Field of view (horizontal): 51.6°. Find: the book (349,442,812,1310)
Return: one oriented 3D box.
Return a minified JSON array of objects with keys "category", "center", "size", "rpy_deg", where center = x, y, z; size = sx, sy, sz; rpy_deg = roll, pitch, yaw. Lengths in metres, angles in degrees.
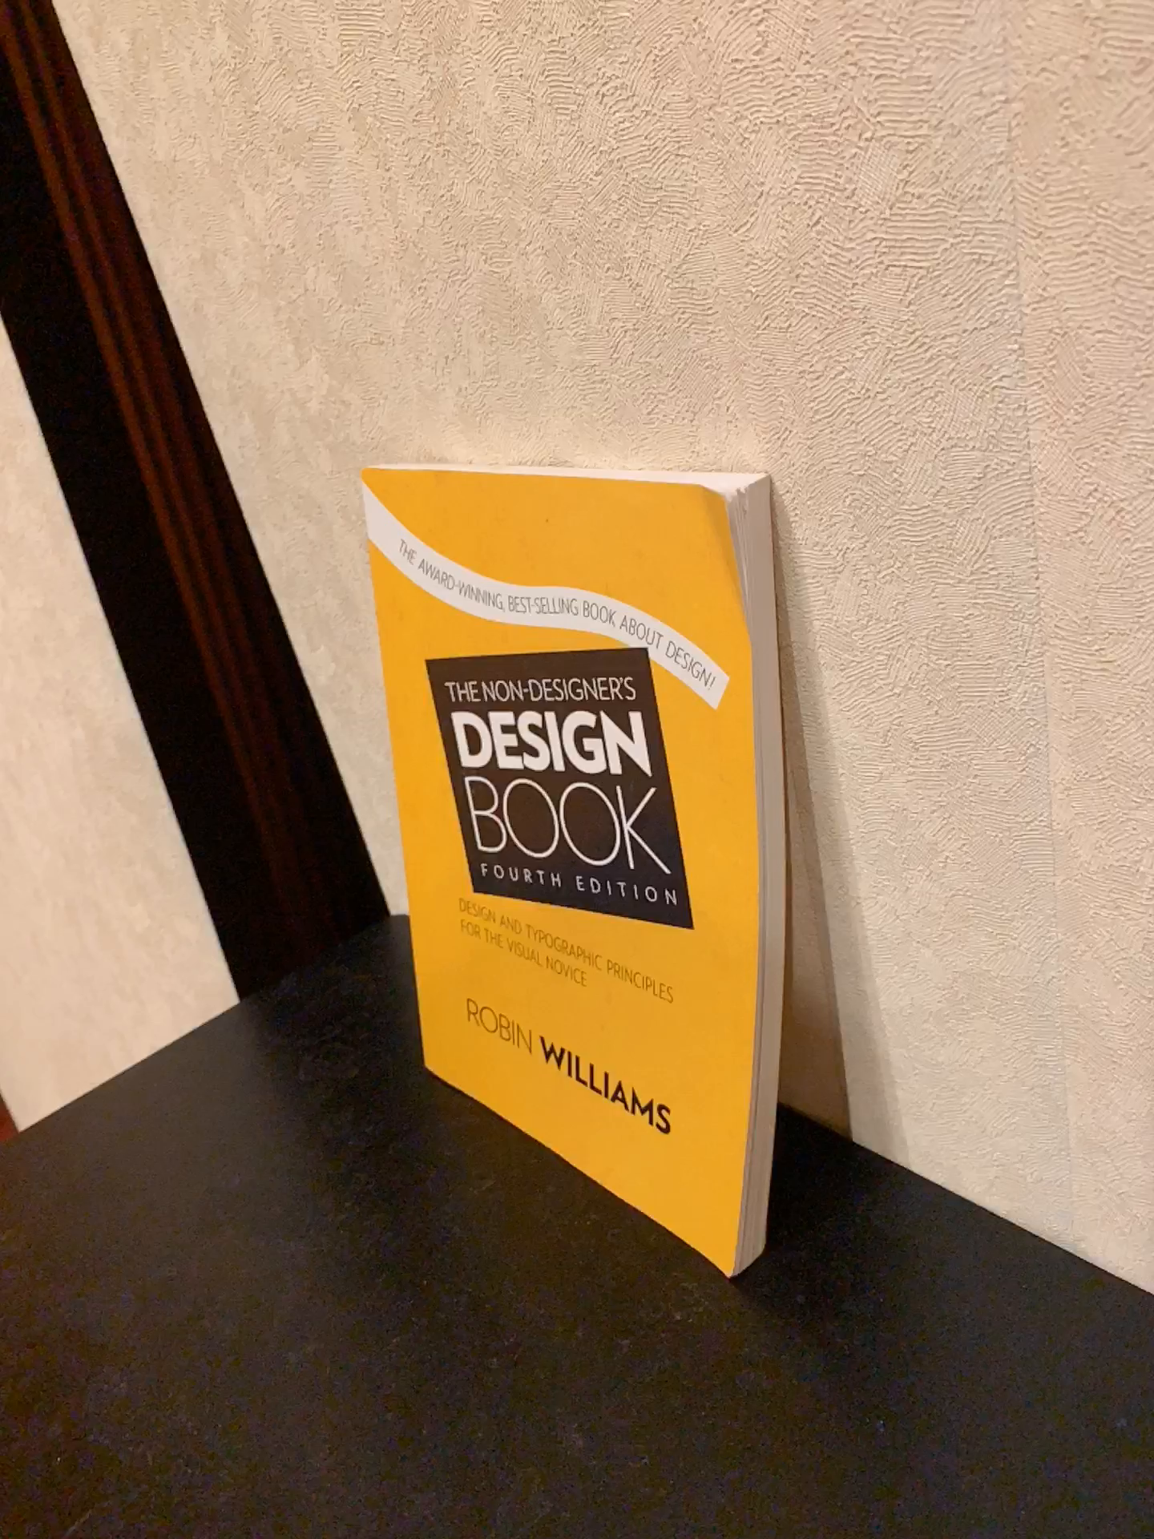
[{"category":"book","center":[-0.005,0.022,0.414],"size":[0.030,0.259,0.191],"rpy_deg":[-16,22,-37]}]
